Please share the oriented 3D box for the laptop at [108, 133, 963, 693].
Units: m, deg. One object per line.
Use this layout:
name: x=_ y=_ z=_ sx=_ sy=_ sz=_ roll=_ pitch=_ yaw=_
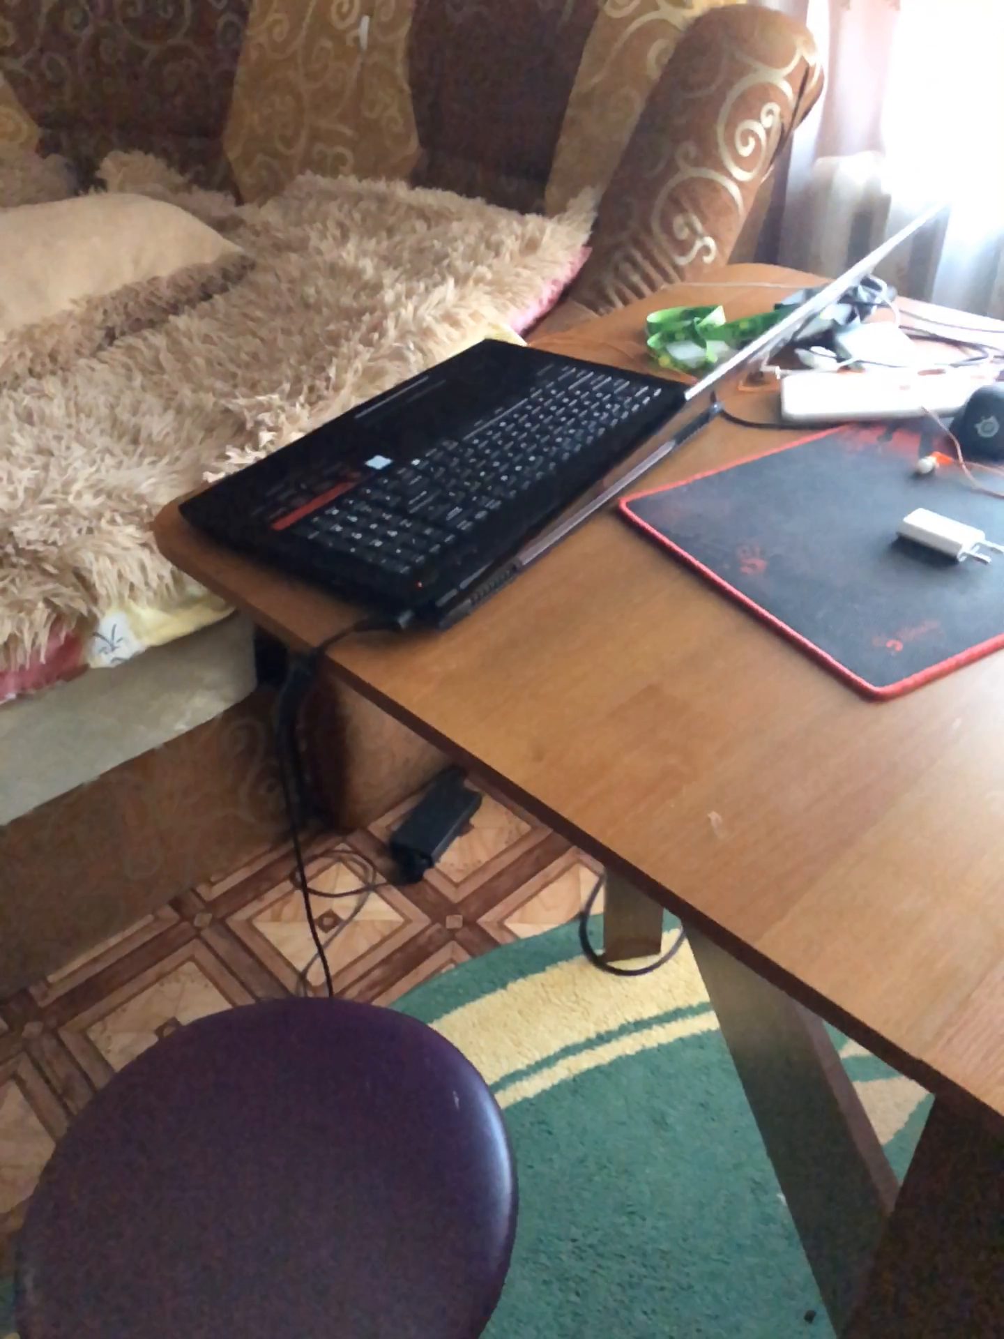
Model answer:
laptop: x=0.028 y=-0.219 z=0.767 sx=0.410 sy=0.174 sz=0.375 roll=23 pitch=45 yaw=30
